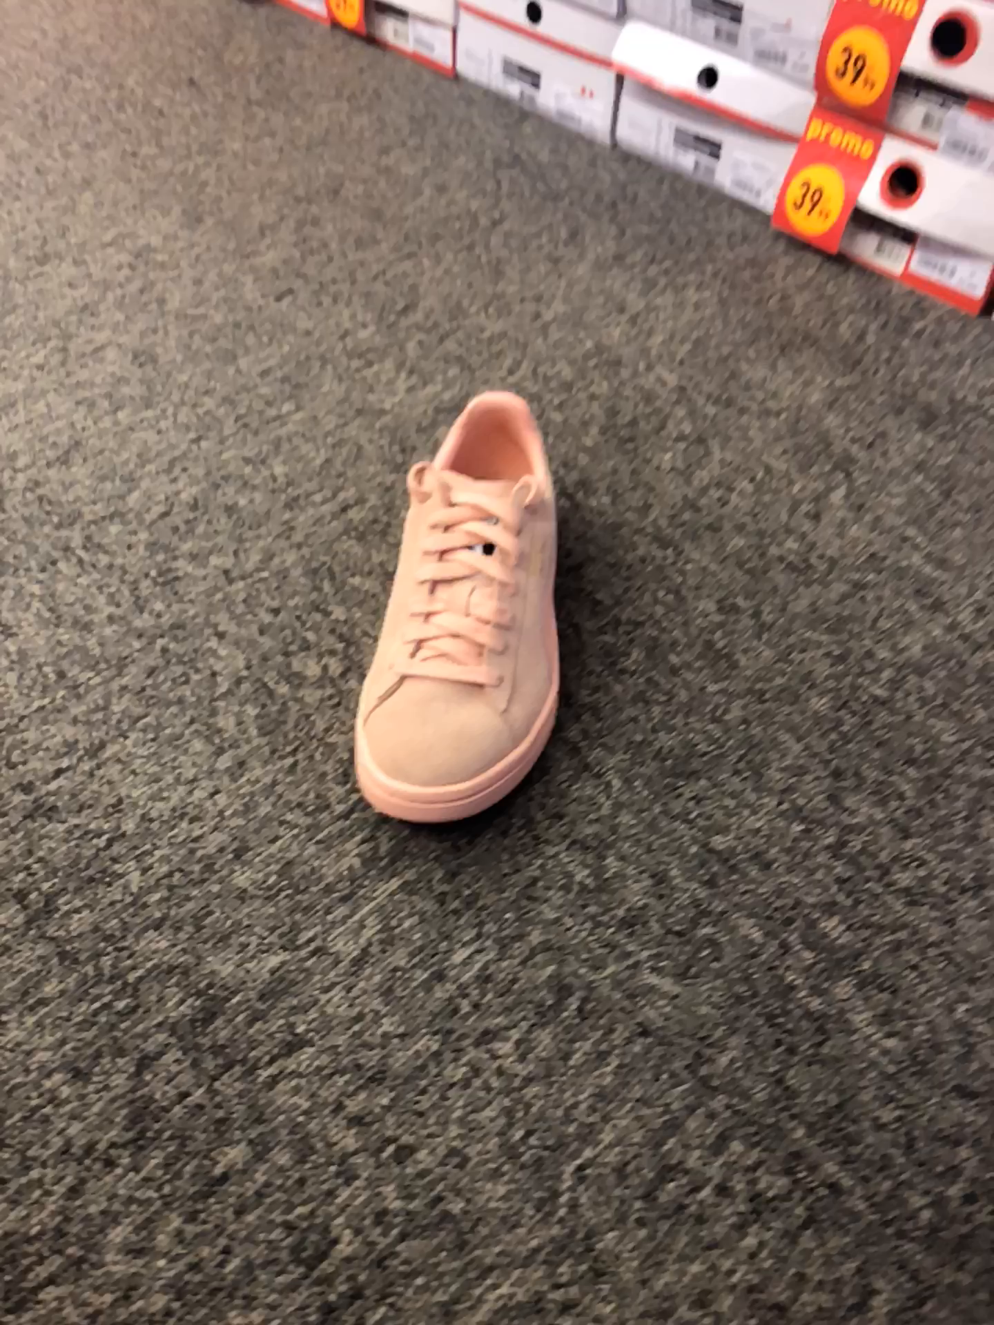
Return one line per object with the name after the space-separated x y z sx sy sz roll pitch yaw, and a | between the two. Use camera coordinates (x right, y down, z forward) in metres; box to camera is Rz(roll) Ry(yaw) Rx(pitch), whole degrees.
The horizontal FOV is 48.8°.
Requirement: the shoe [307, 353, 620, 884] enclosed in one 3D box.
-0.006 -0.032 0.549 0.092 0.090 0.254 9 55 7 | shoe
